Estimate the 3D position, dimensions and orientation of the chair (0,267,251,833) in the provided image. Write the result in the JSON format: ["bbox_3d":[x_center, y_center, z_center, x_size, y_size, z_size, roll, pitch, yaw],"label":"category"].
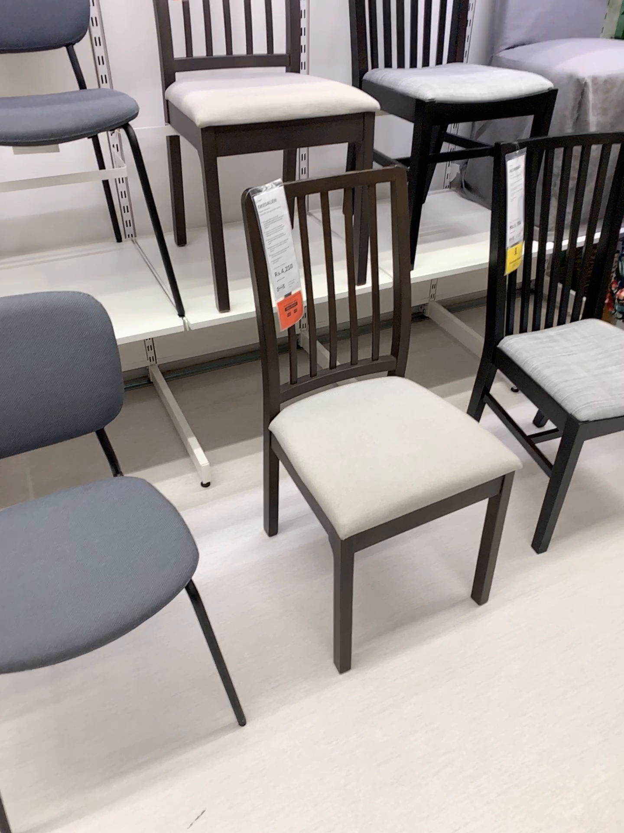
[{"bbox_3d":[-0.526,0.265,1.167,0.571,0.786,0.612,-19,41,-24],"label":"chair"}]

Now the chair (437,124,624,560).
[{"bbox_3d":[0.724,-0.191,1.650,0.480,0.916,0.532,-12,39,-16],"label":"chair"}]

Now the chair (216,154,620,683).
[{"bbox_3d":[0.150,0.004,1.376,0.480,0.916,0.532,-17,40,-22],"label":"chair"}]
